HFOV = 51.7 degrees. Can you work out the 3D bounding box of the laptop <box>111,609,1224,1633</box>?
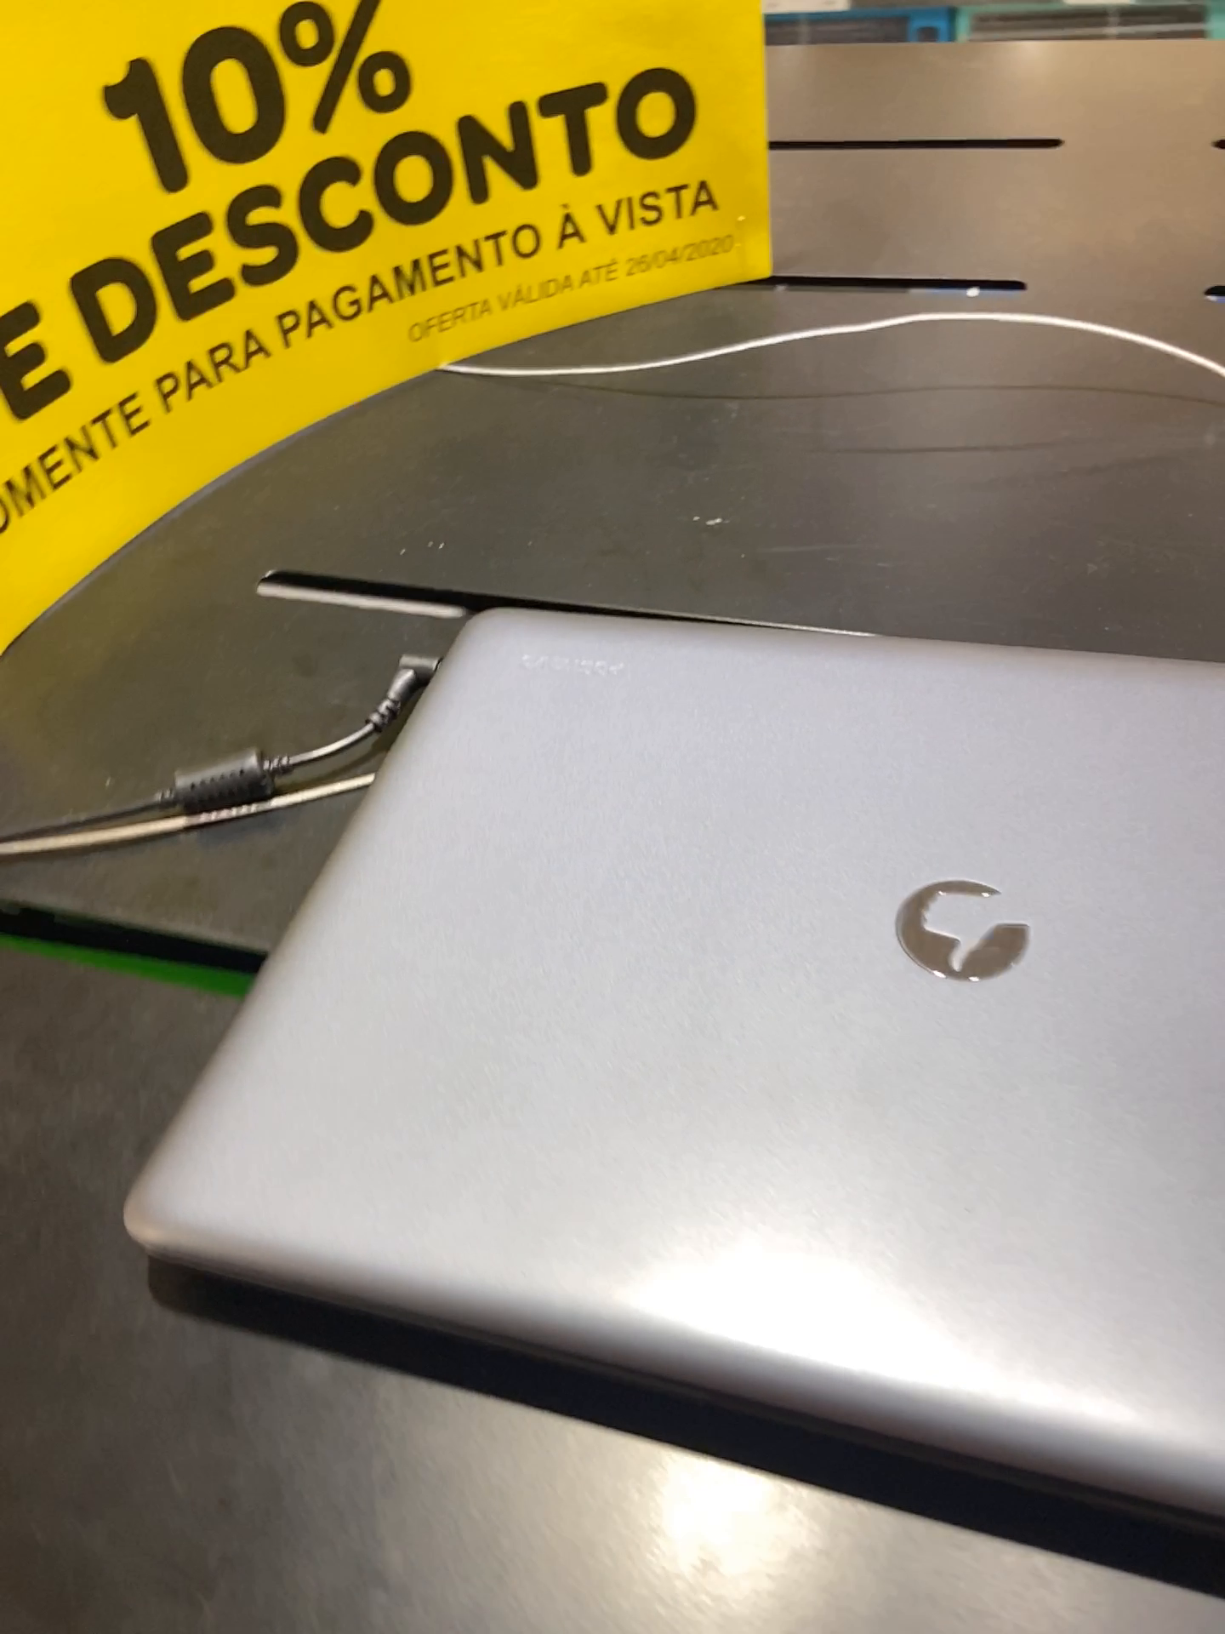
[{"bbox_3d":[0.081,0.029,0.289,0.329,0.001,0.214,7,48,17],"label":"laptop"}]
